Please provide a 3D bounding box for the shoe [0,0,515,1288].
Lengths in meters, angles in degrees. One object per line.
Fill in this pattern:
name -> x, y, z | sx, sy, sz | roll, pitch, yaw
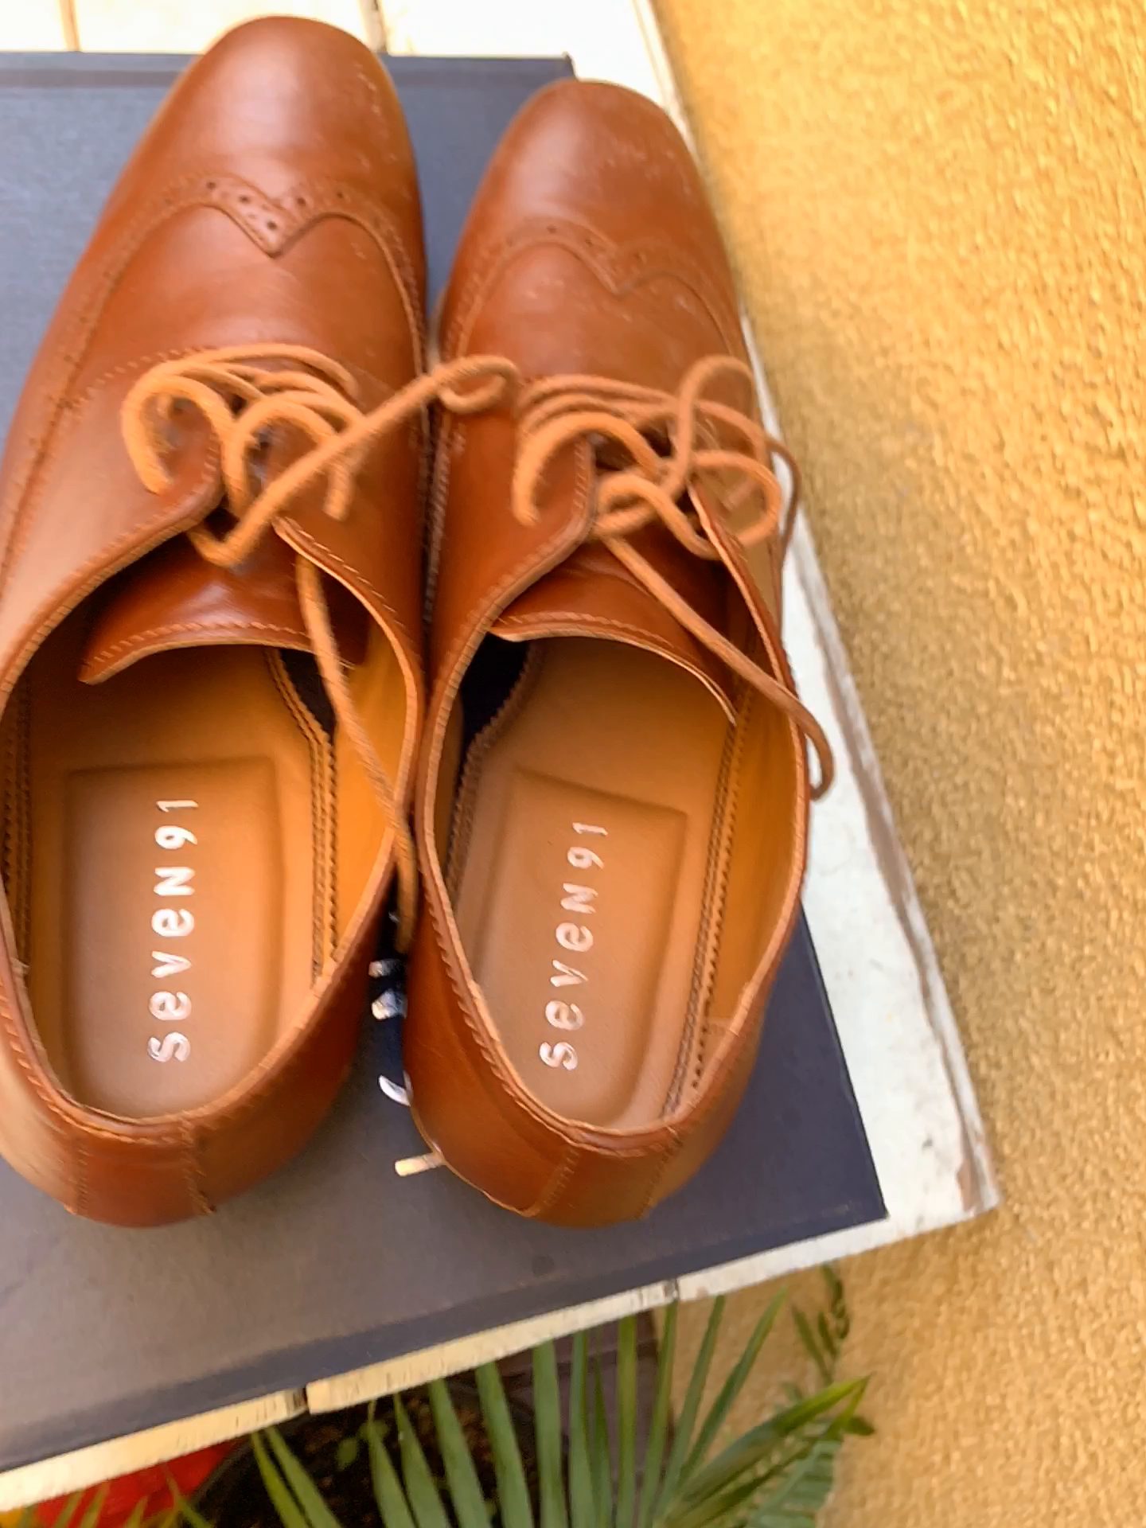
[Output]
shoe -> -0.080, -0.057, 0.259 | 0.104, 0.100, 0.301 | 6, 72, -12

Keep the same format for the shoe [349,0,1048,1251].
shoe -> 0.020, -0.053, 0.281 | 0.110, 0.100, 0.301 | 6, 72, -12
